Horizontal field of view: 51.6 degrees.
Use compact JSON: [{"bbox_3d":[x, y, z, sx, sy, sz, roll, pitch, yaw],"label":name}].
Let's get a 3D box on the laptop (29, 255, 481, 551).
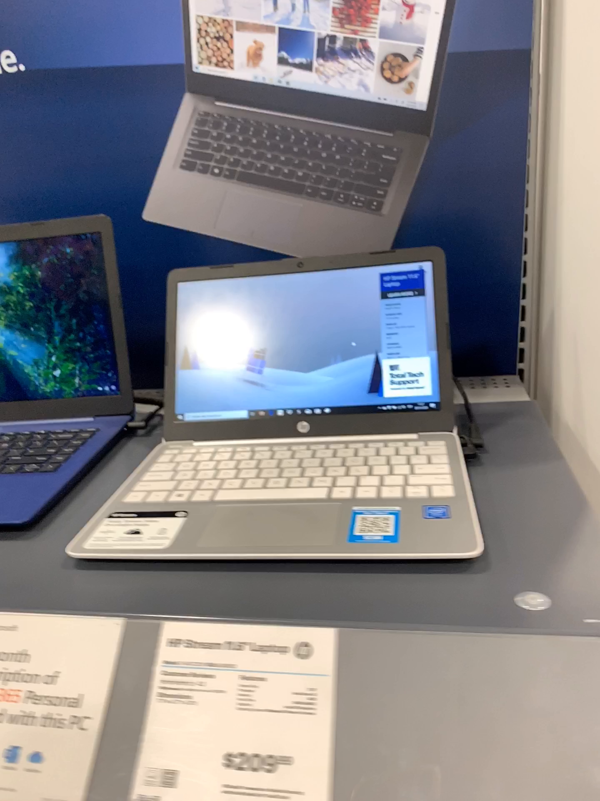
[{"bbox_3d":[-0.008,-0.020,0.510,0.266,0.144,0.275,-2,20,8],"label":"laptop"}]
